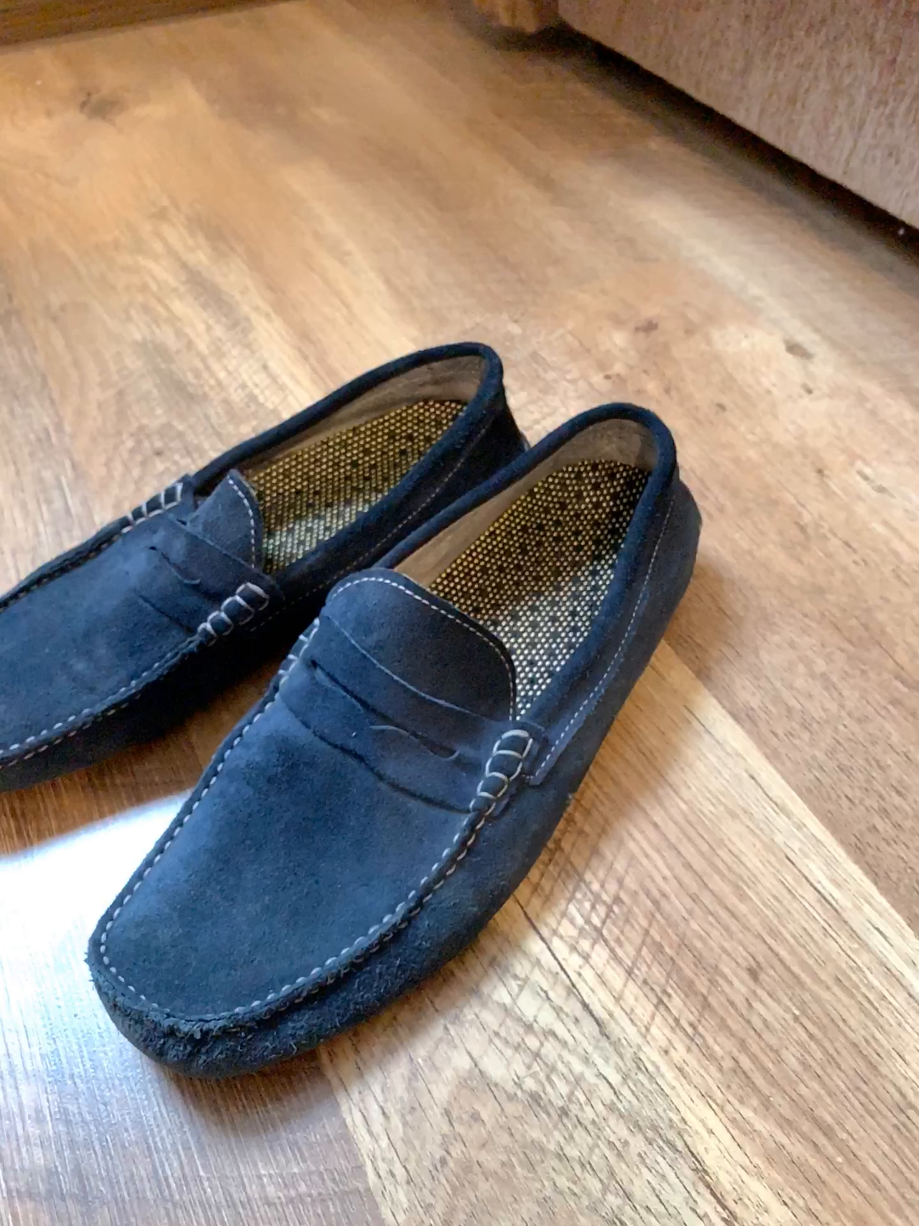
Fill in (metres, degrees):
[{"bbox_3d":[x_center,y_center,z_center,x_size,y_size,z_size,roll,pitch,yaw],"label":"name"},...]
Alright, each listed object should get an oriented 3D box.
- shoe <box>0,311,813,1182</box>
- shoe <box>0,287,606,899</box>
[{"bbox_3d":[-0.001,0.013,0.321,0.110,0.070,0.291,29,56,24],"label":"shoe"},{"bbox_3d":[-0.081,-0.024,0.361,0.270,0.070,0.100,-31,55,-23],"label":"shoe"}]
